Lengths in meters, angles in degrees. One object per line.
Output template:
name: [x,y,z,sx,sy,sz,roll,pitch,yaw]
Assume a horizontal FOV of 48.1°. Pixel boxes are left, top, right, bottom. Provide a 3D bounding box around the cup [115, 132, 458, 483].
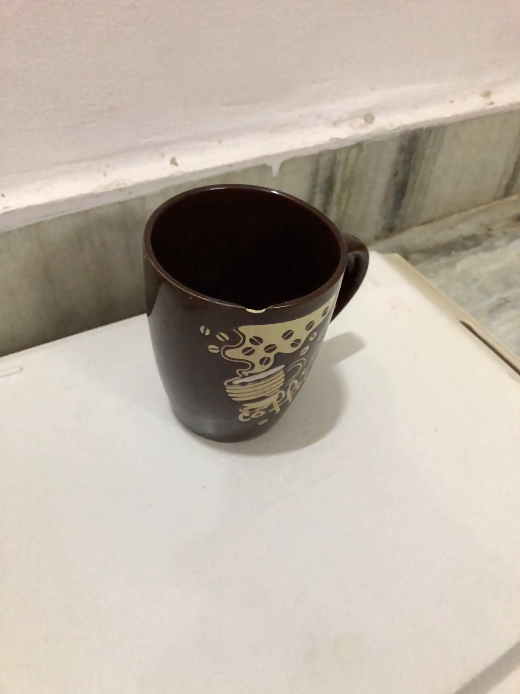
cup: [0.010,-0.022,0.264,0.121,0.099,0.070,-29,55,-32]
